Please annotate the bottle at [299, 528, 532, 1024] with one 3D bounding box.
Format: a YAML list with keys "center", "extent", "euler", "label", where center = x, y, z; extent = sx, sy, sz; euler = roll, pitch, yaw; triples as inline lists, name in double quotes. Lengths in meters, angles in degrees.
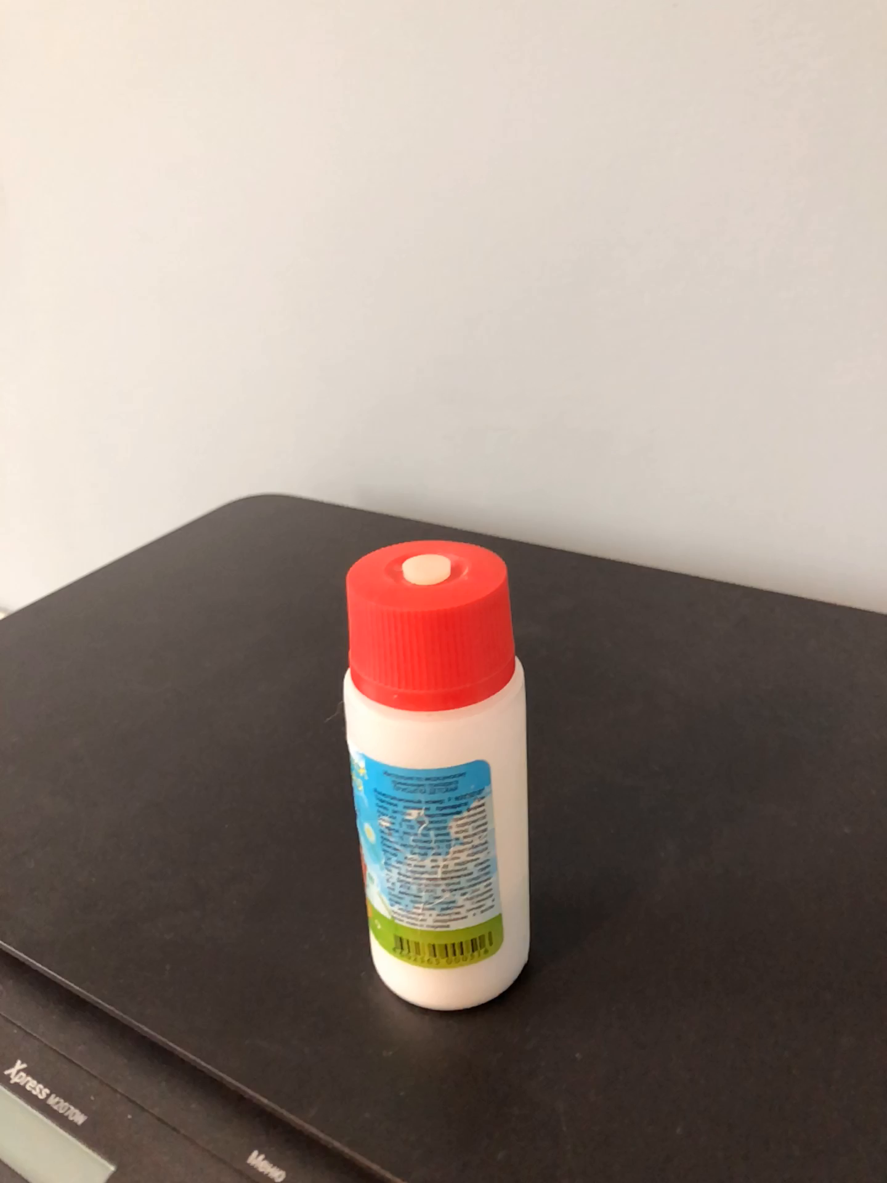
- center: [-0.003, 0.046, 0.235]
  extent: [0.044, 0.112, 0.042]
  euler: [-3, 27, 1]
  label: "bottle"
